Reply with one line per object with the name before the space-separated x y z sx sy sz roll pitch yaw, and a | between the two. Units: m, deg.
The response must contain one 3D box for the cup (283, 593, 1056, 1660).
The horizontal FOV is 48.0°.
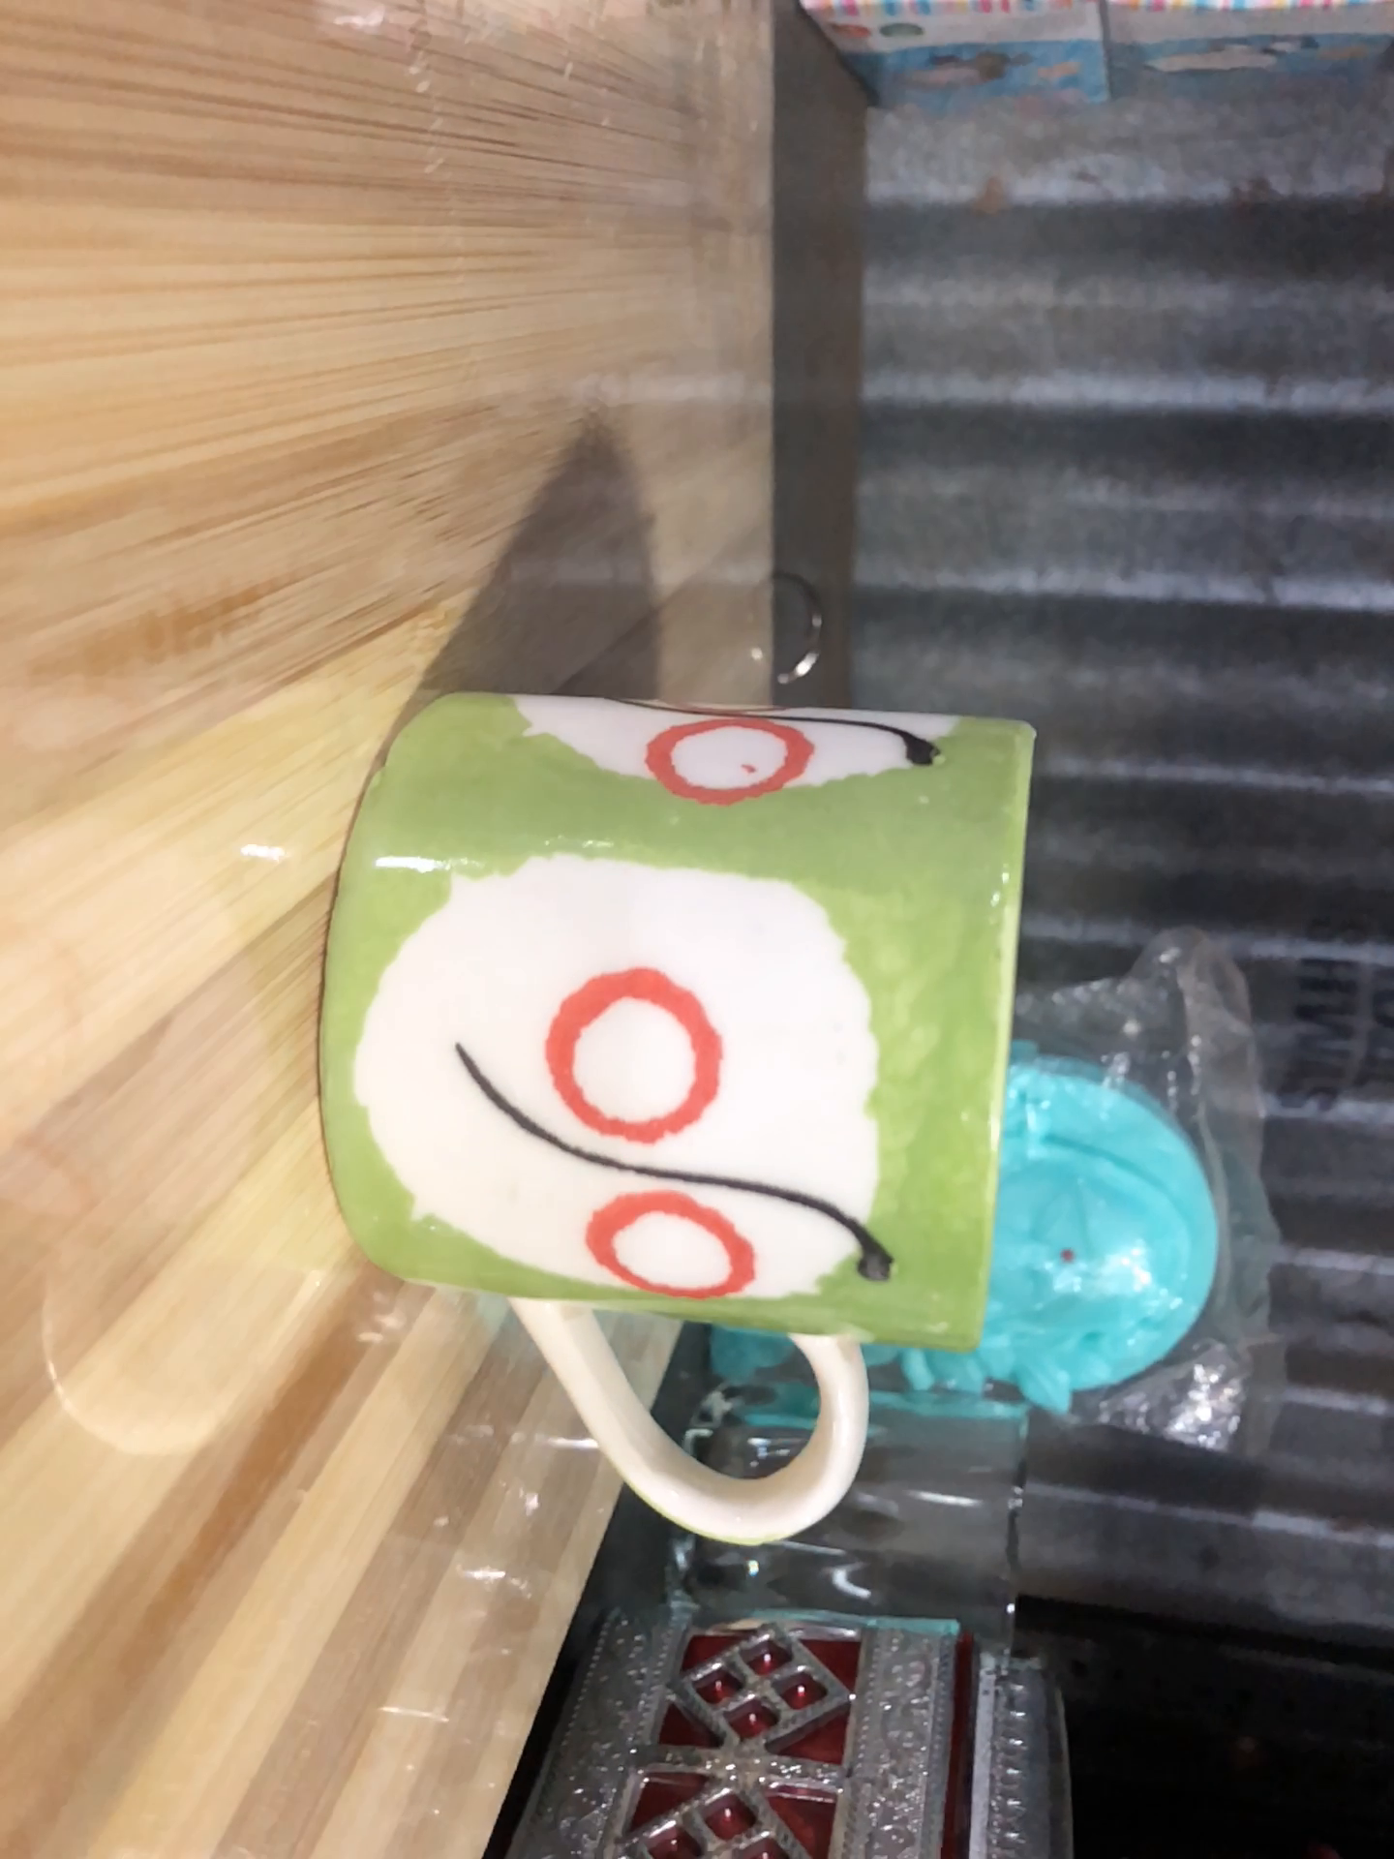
cup | 0.002 0.015 0.185 0.070 0.070 0.100 -54 146 -71
